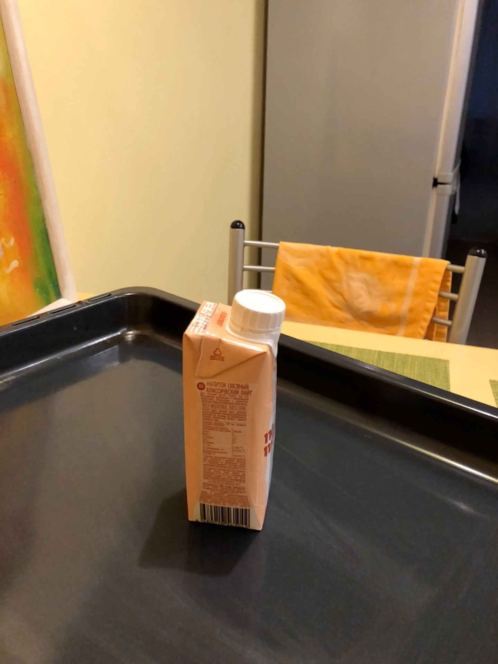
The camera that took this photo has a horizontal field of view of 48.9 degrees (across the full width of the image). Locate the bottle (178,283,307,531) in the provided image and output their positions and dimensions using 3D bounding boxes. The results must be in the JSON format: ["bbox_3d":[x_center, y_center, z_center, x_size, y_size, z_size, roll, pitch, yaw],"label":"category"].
[{"bbox_3d":[-0.002,0.041,0.309,0.060,0.119,0.060,1,23,-1],"label":"bottle"}]
